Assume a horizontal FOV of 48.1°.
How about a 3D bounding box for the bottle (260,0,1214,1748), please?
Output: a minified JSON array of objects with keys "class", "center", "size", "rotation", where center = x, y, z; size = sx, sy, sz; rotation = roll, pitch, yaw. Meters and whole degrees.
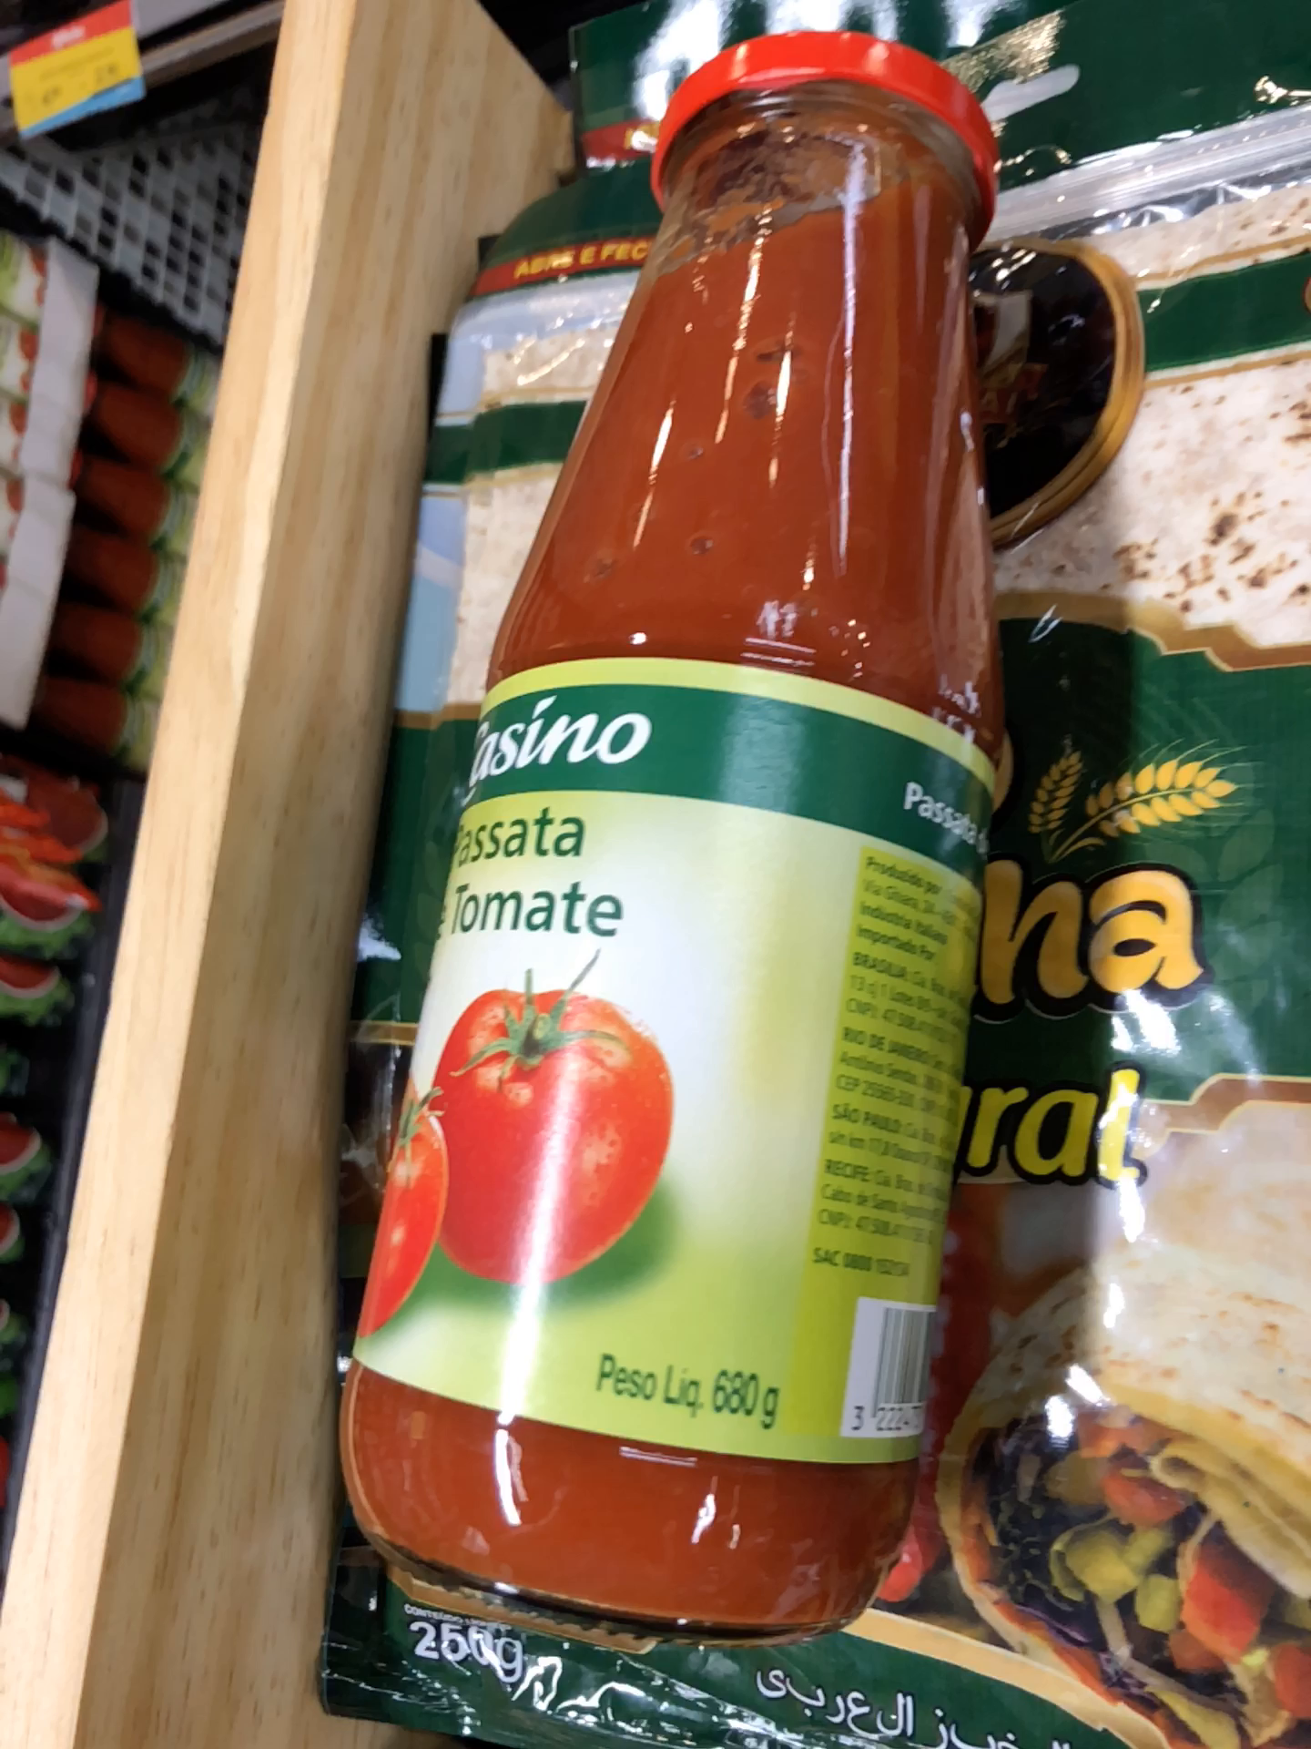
[{"class":"bottle","center":[0.016,-0.016,0.212],"size":[0.070,0.080,0.230],"rotation":[-6,72,56]}]
